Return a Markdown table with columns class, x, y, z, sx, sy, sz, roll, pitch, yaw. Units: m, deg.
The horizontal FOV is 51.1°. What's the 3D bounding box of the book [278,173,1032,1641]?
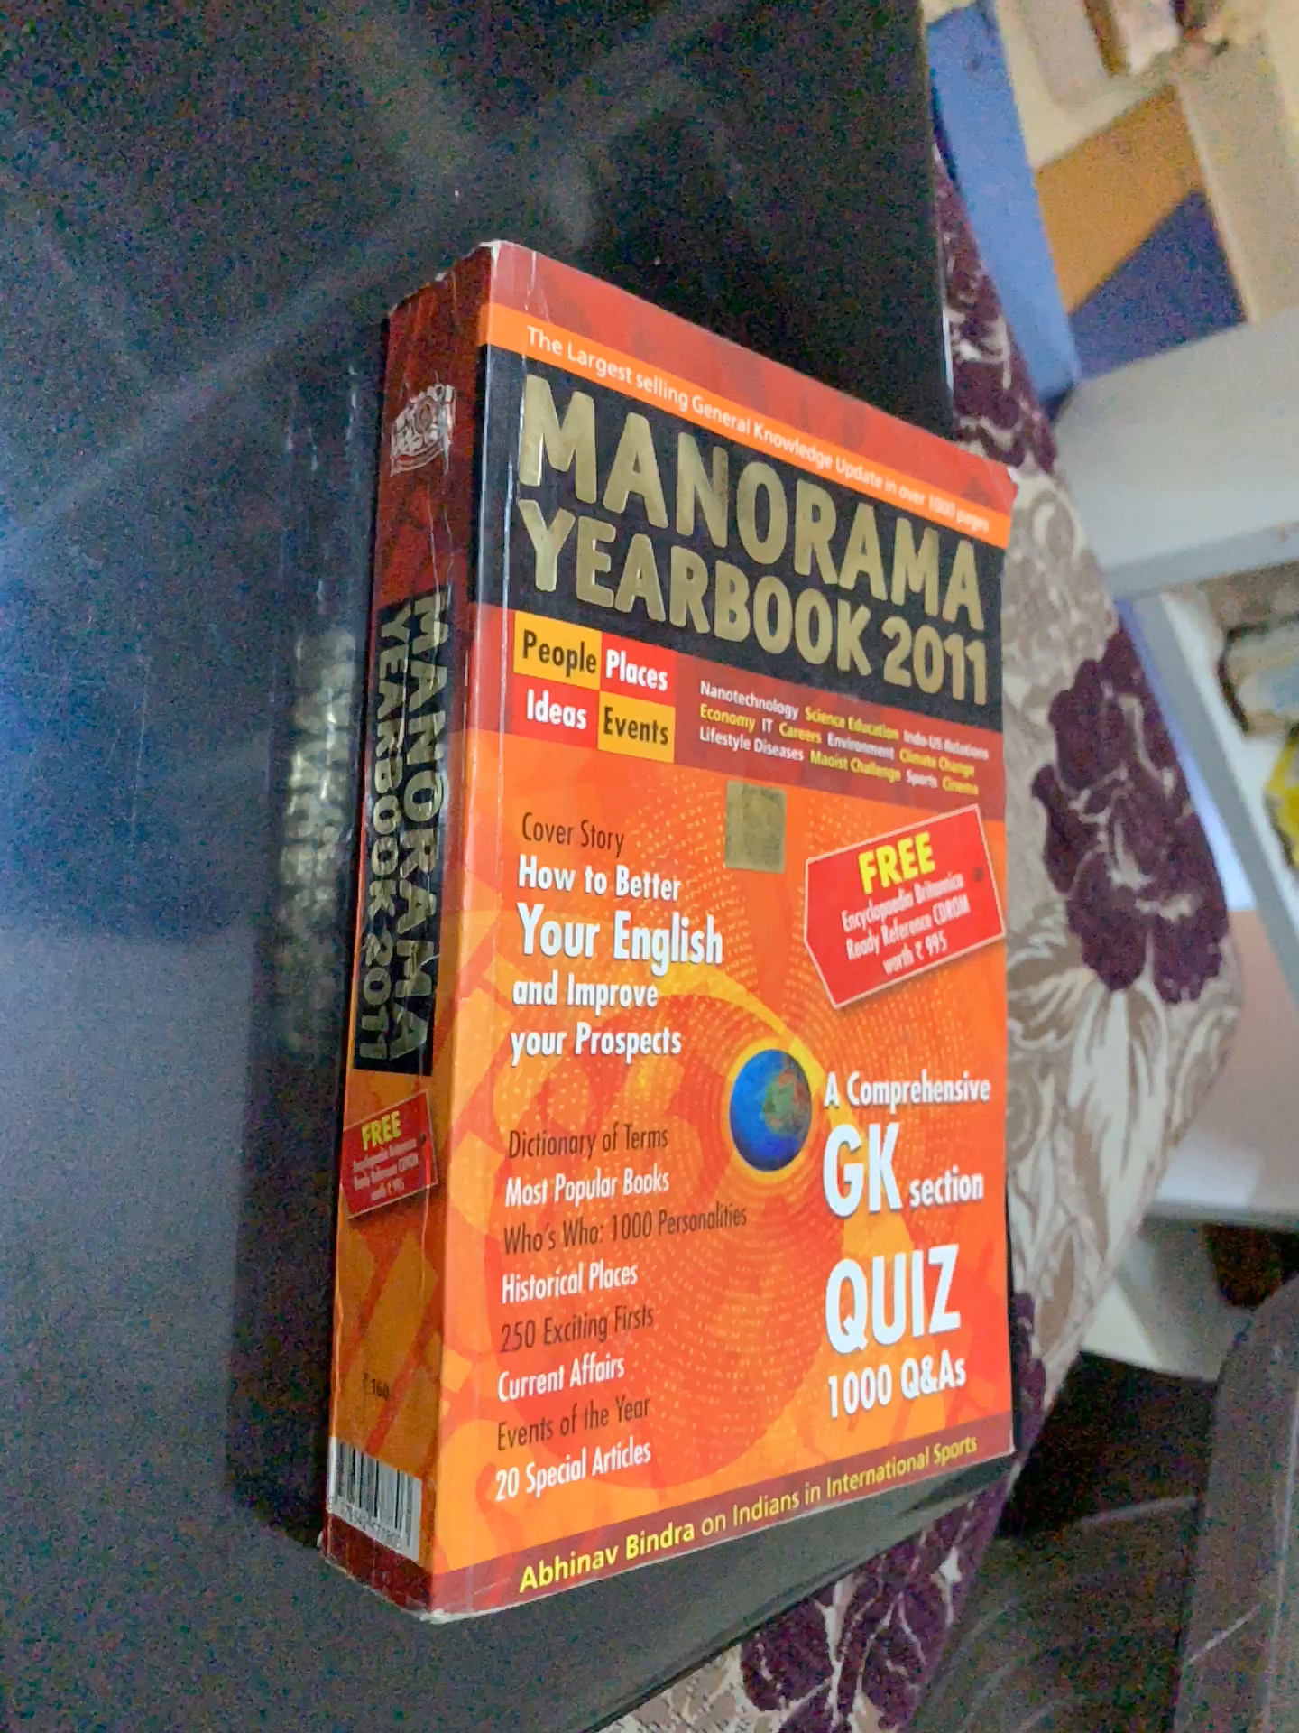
| class | x | y | z | sx | sy | sz | roll | pitch | yaw |
| --- | --- | --- | --- | --- | --- | --- | --- | --- | --- |
| book | 0.011 | 0.007 | 0.260 | 0.141 | 0.050 | 0.210 | 8 | 80 | -43 |
